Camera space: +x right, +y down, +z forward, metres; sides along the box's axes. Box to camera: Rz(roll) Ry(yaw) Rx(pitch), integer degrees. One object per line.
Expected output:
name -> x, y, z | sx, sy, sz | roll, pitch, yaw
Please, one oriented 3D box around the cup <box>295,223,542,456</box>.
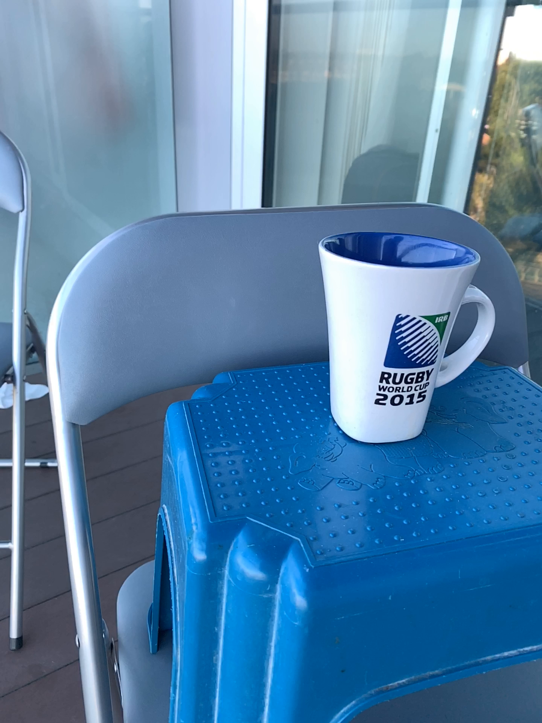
cup -> 0.081, -0.018, 0.335 | 0.107, 0.105, 0.083 | -5, 28, -15
